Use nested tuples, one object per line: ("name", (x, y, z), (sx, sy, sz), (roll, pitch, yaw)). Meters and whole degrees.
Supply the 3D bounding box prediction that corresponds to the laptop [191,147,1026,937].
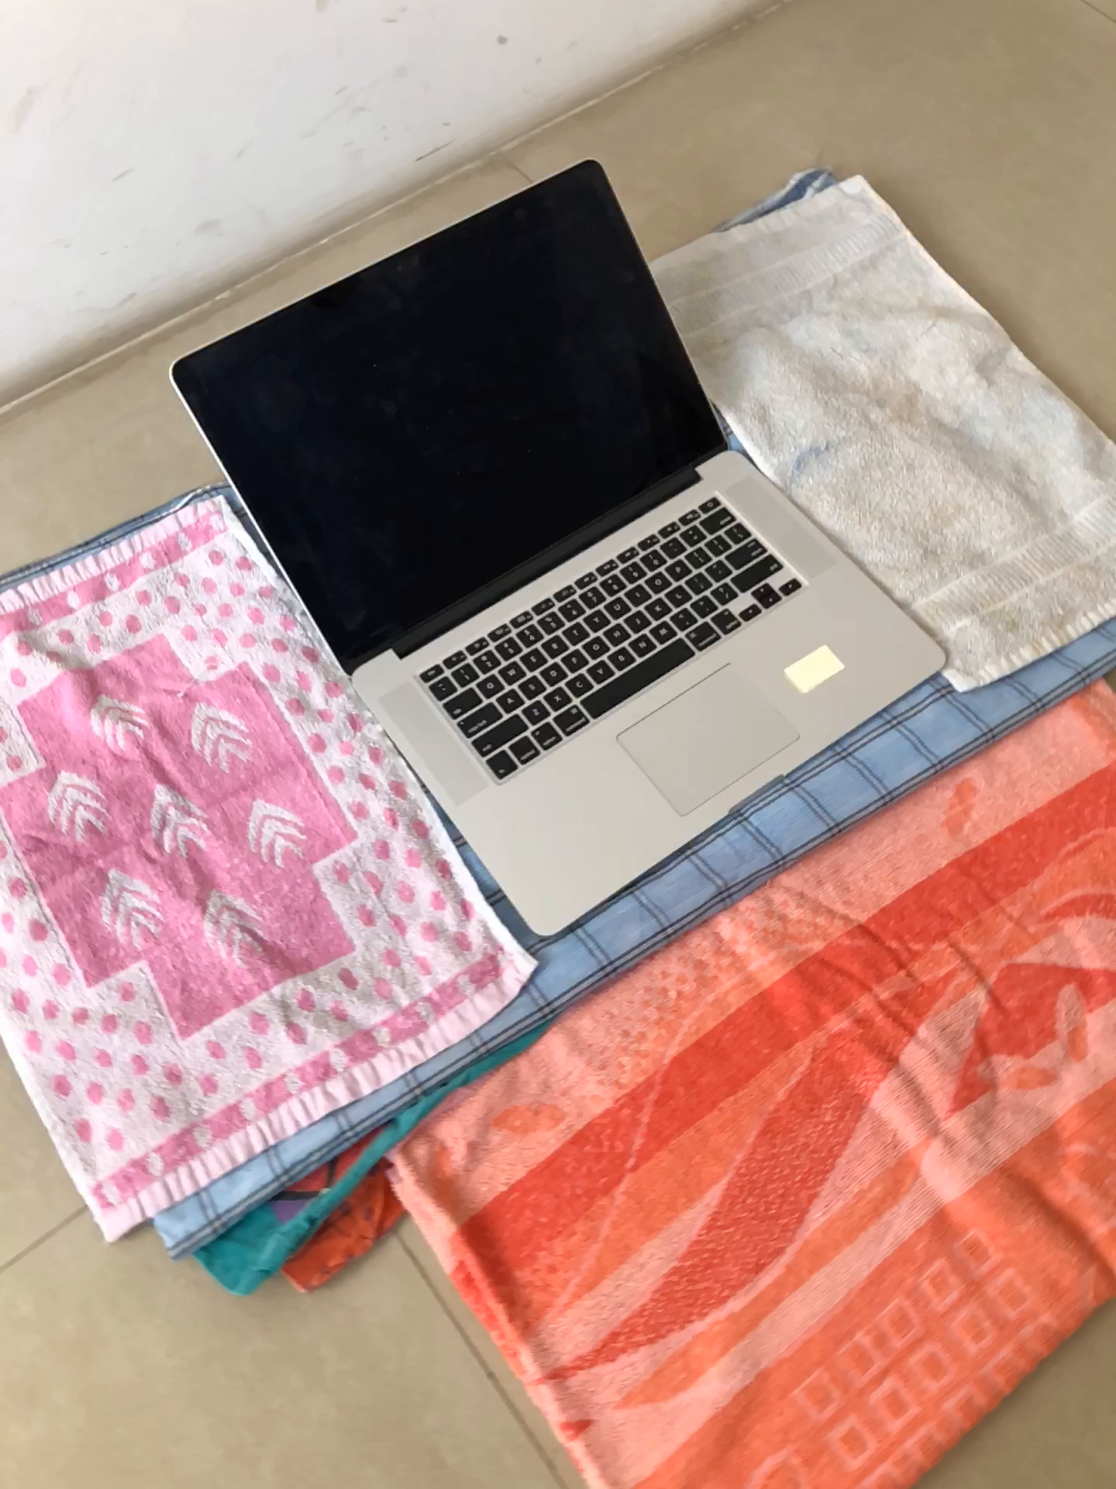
("laptop", (0.018, -0.153, 0.826), (0.344, 0.144, 0.413), (-33, 67, -13))
